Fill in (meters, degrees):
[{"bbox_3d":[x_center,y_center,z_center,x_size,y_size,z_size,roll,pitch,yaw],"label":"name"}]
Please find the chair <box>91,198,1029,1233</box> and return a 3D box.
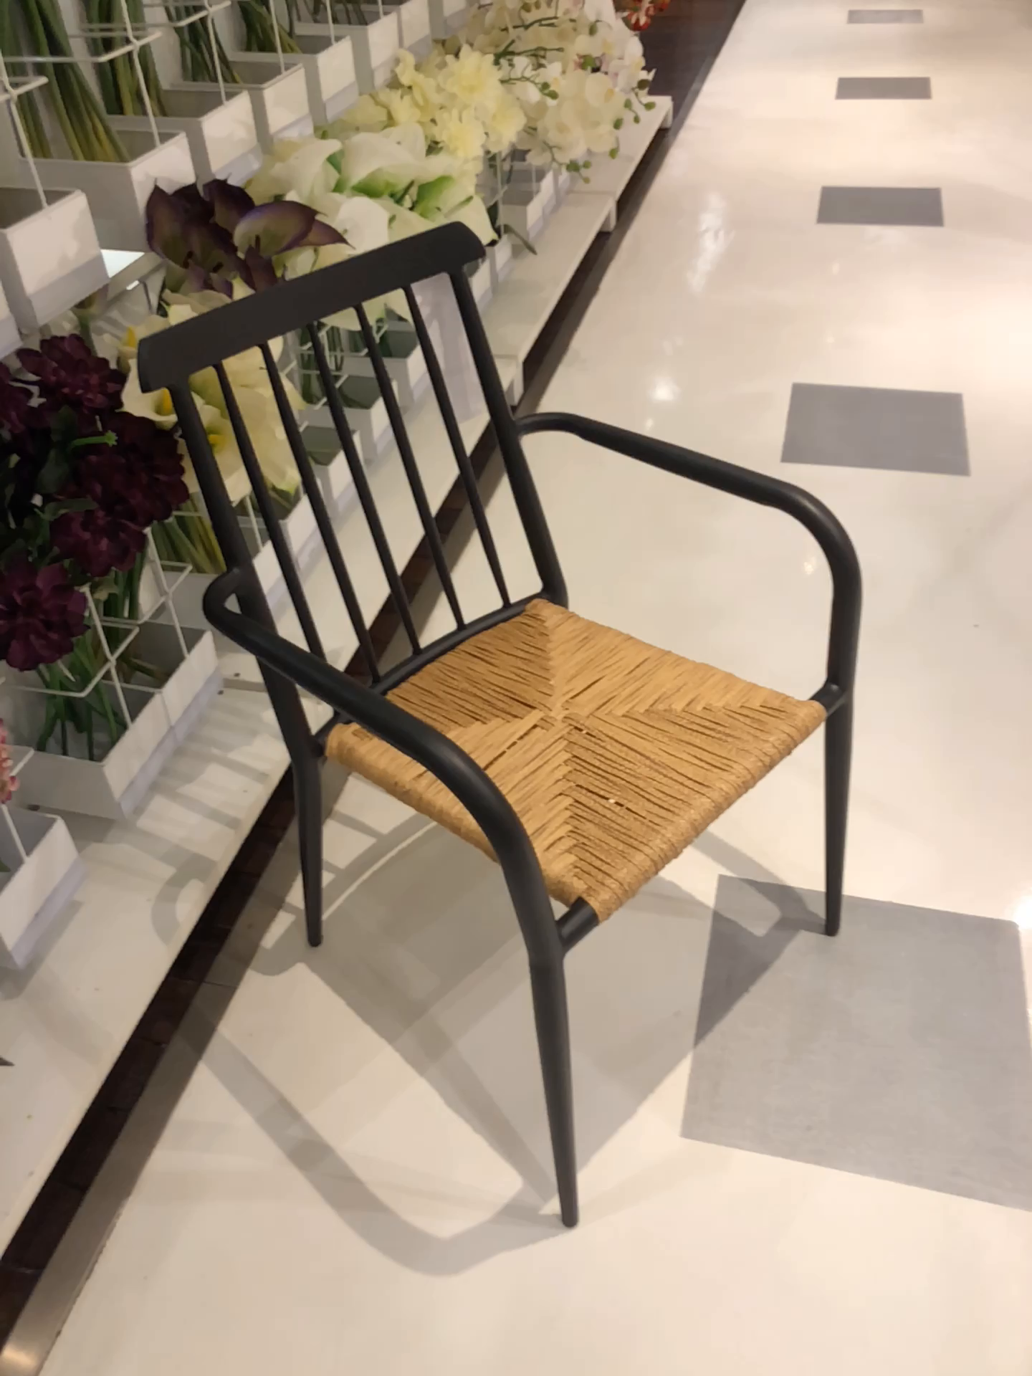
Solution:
[{"bbox_3d":[0.049,-0.004,1.196,0.582,0.754,0.542,30,50,34],"label":"chair"}]
